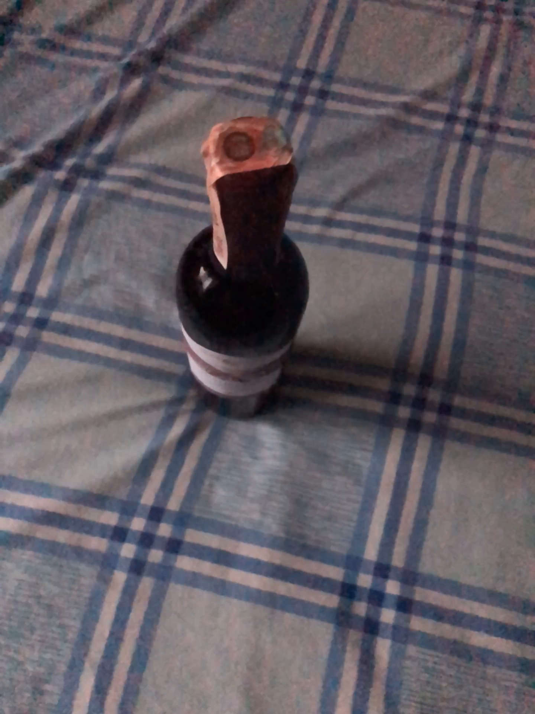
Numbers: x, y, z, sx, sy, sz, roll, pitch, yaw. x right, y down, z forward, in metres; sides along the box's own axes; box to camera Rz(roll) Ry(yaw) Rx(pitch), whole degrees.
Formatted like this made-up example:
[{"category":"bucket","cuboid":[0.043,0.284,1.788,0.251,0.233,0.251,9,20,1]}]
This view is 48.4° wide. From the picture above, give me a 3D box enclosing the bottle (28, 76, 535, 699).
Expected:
[{"category":"bottle","cuboid":[0.012,0.051,0.238,0.081,0.306,0.071,37,72,12]}]
